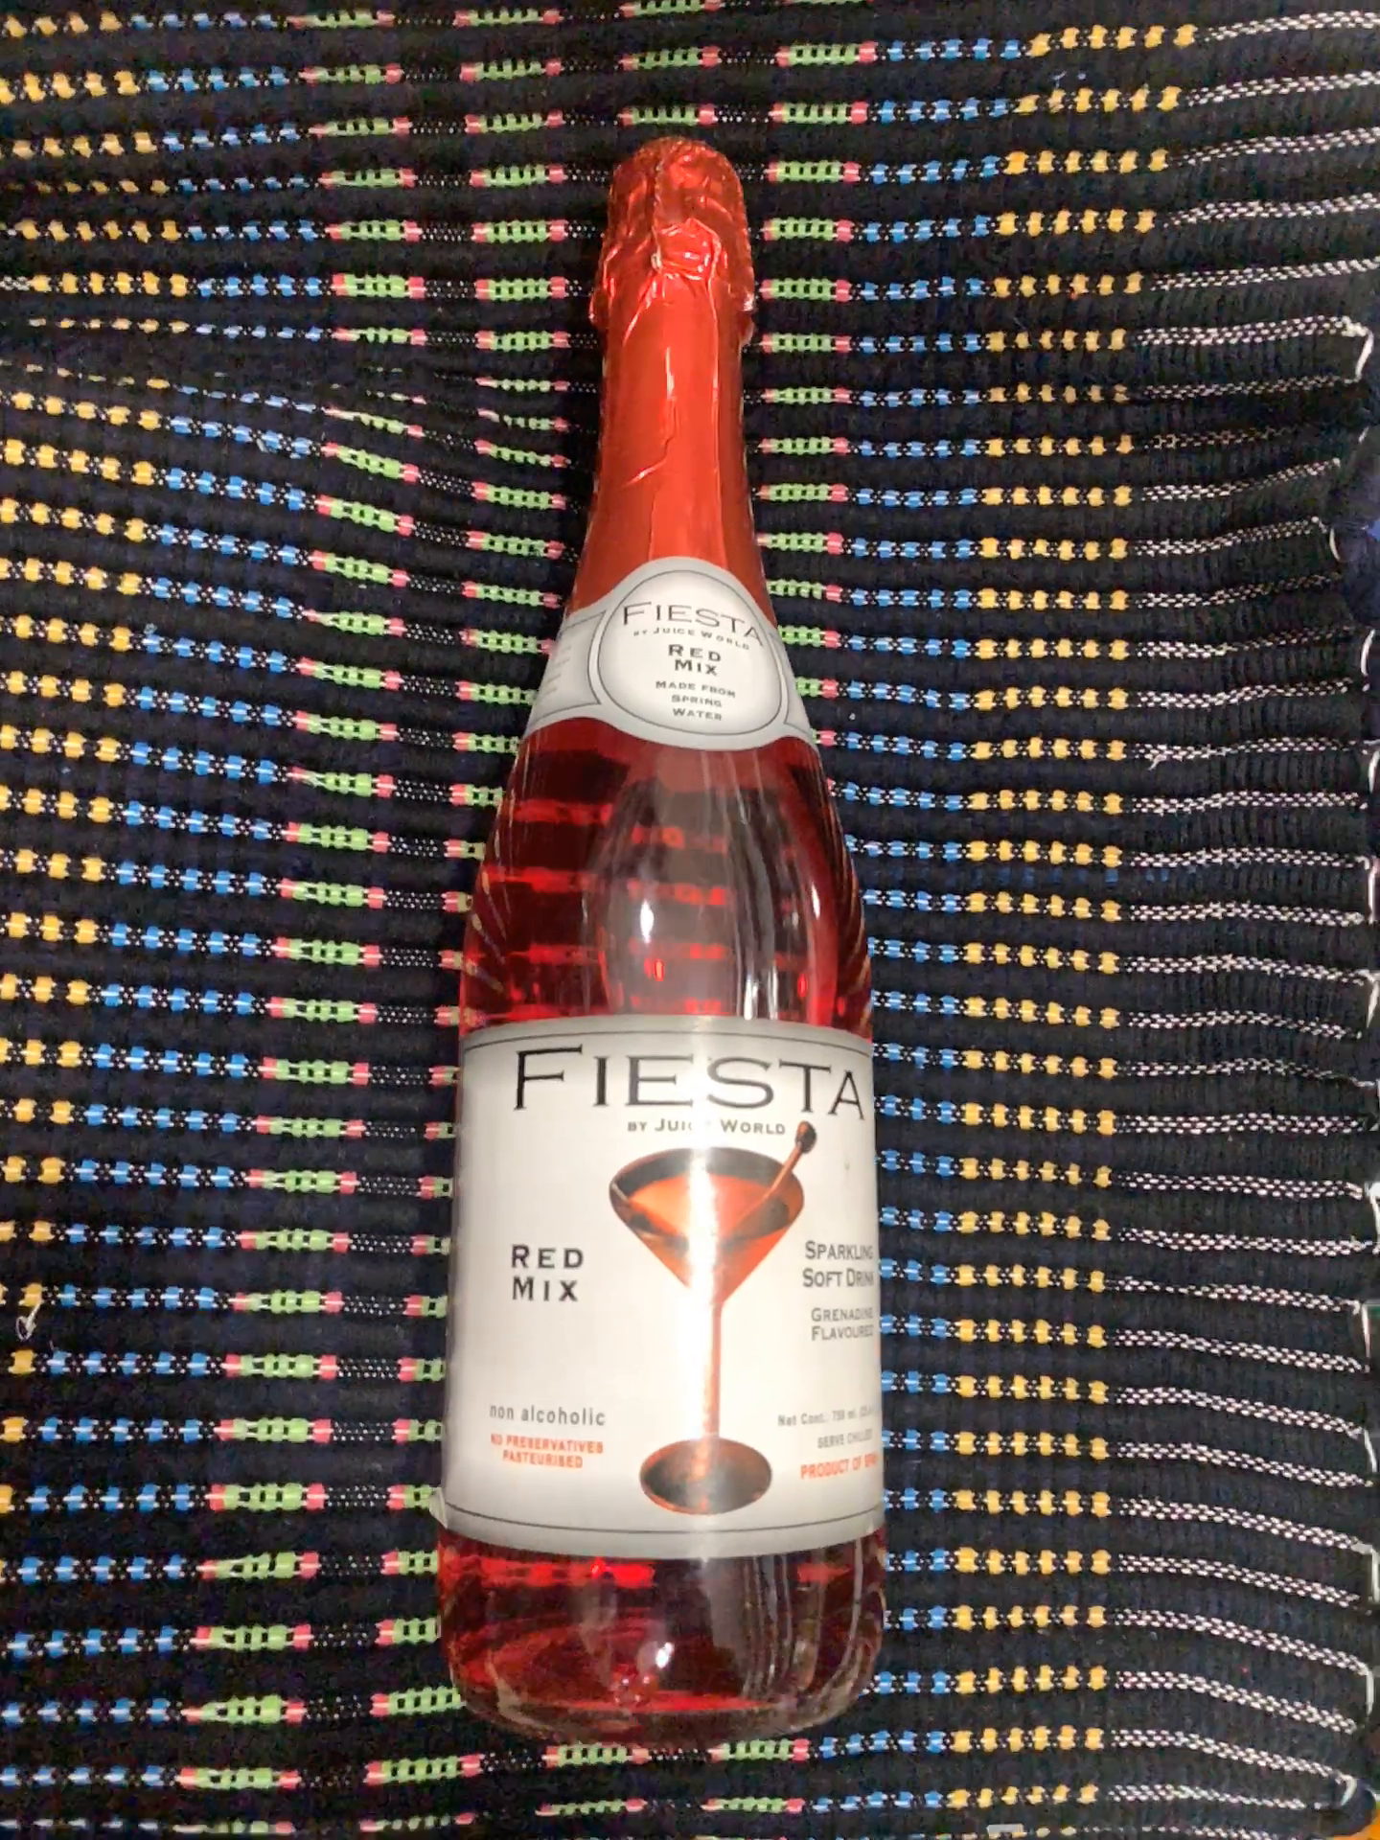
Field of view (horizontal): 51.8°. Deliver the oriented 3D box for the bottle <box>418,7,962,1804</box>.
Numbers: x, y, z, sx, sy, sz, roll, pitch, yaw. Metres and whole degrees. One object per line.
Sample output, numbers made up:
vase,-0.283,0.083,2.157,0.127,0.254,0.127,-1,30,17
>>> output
bottle,-0.004,-0.016,0.277,0.080,0.070,0.310,3,75,-10
